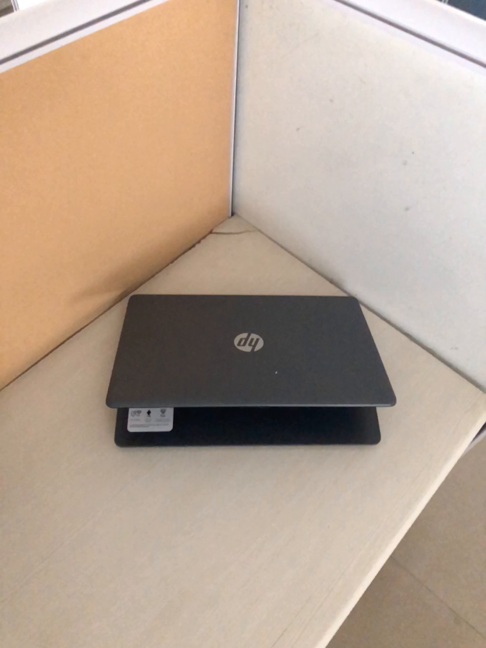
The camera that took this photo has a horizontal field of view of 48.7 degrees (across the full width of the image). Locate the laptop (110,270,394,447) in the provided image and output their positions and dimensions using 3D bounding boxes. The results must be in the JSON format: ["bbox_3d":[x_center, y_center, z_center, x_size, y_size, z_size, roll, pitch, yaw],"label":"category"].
[{"bbox_3d":[0.007,0.046,0.773,0.361,0.074,0.238,0,59,-3],"label":"laptop"}]
